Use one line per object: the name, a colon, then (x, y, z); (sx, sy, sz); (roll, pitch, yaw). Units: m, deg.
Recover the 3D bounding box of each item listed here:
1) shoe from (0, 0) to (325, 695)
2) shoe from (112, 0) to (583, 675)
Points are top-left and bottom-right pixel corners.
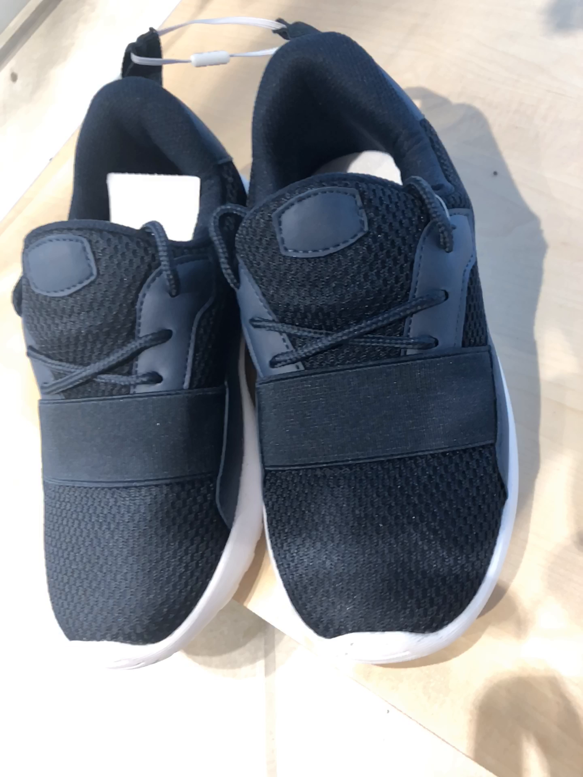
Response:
shoe: (-0.051, -0.018, 0.256); (0.090, 0.100, 0.241); (-3, 63, 18)
shoe: (0.019, -0.034, 0.232); (0.100, 0.100, 0.241); (-9, 62, 14)
